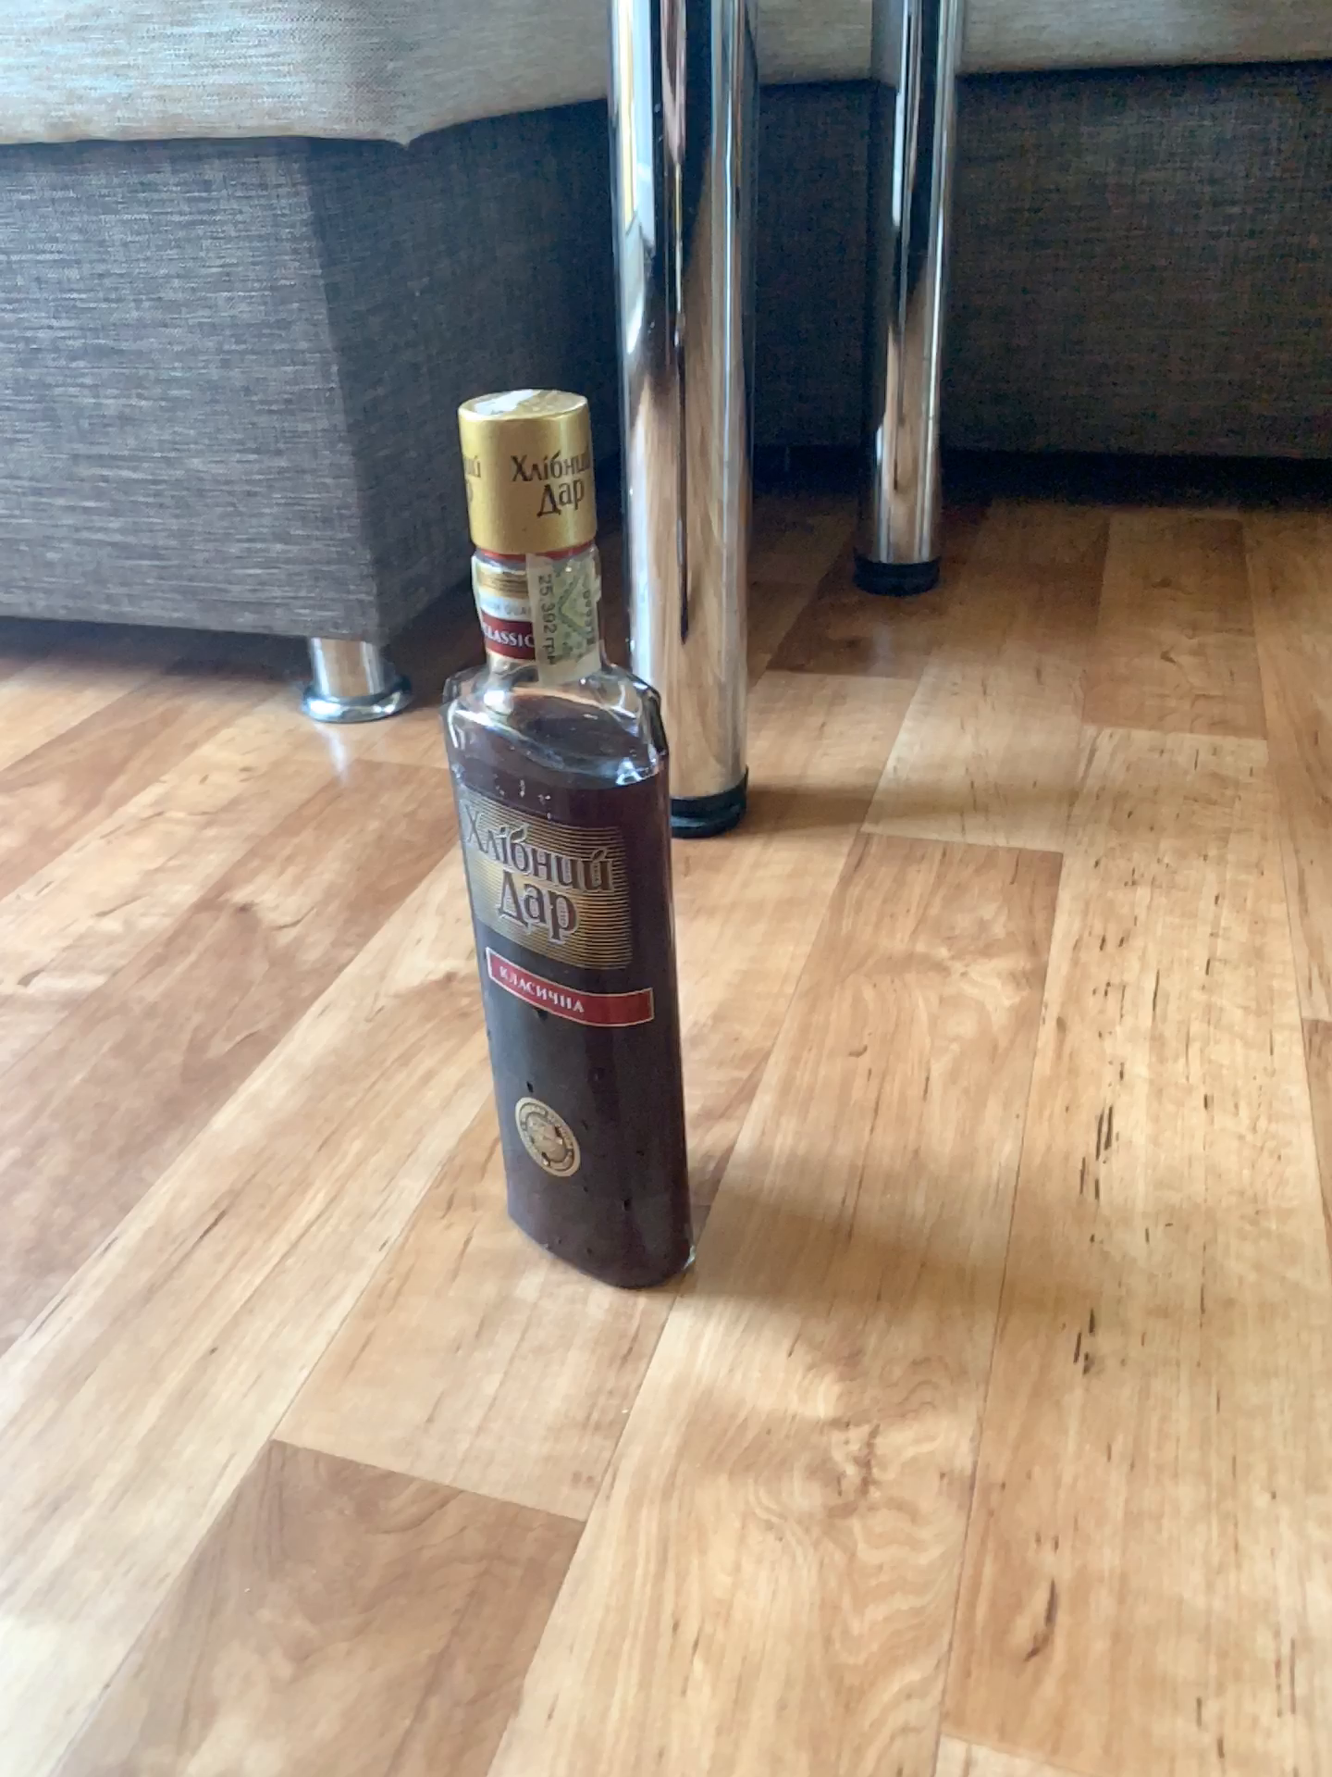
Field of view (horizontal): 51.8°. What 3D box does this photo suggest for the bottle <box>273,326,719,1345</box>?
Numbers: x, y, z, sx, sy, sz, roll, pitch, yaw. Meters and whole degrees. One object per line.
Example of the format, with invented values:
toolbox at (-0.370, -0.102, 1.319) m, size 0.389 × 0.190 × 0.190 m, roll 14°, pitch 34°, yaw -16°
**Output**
bottle at (-0.037, -0.008, 0.349) m, size 0.050 × 0.239 × 0.090 m, roll -21°, pitch 35°, yaw -28°
